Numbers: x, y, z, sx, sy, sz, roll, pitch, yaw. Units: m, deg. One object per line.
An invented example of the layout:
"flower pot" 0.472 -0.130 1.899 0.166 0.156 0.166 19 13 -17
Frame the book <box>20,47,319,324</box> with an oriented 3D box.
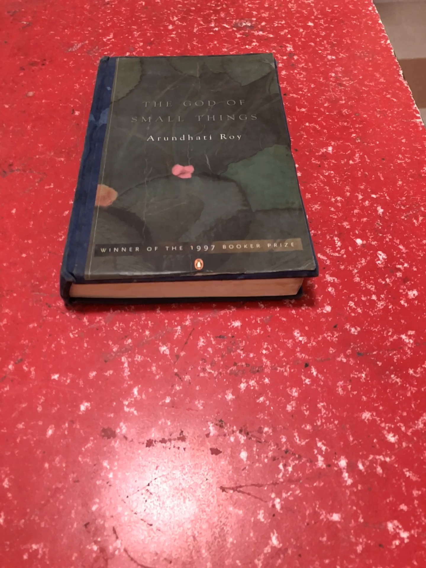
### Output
"book" -0.024 -0.080 0.319 0.150 0.040 0.220 -2 54 0
